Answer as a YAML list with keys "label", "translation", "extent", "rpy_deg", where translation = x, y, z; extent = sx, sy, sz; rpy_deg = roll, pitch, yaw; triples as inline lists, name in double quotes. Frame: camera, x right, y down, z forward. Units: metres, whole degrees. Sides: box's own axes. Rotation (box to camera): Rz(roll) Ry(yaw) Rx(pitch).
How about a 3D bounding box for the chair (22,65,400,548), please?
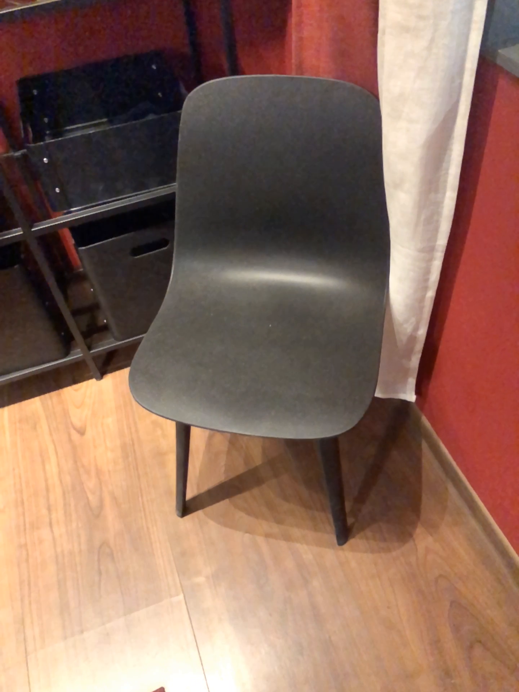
- label: "chair"
  translation: [-0.003, -0.034, 1.051]
  extent: [0.410, 0.726, 0.483]
  rpy_deg: [6, 51, 10]
